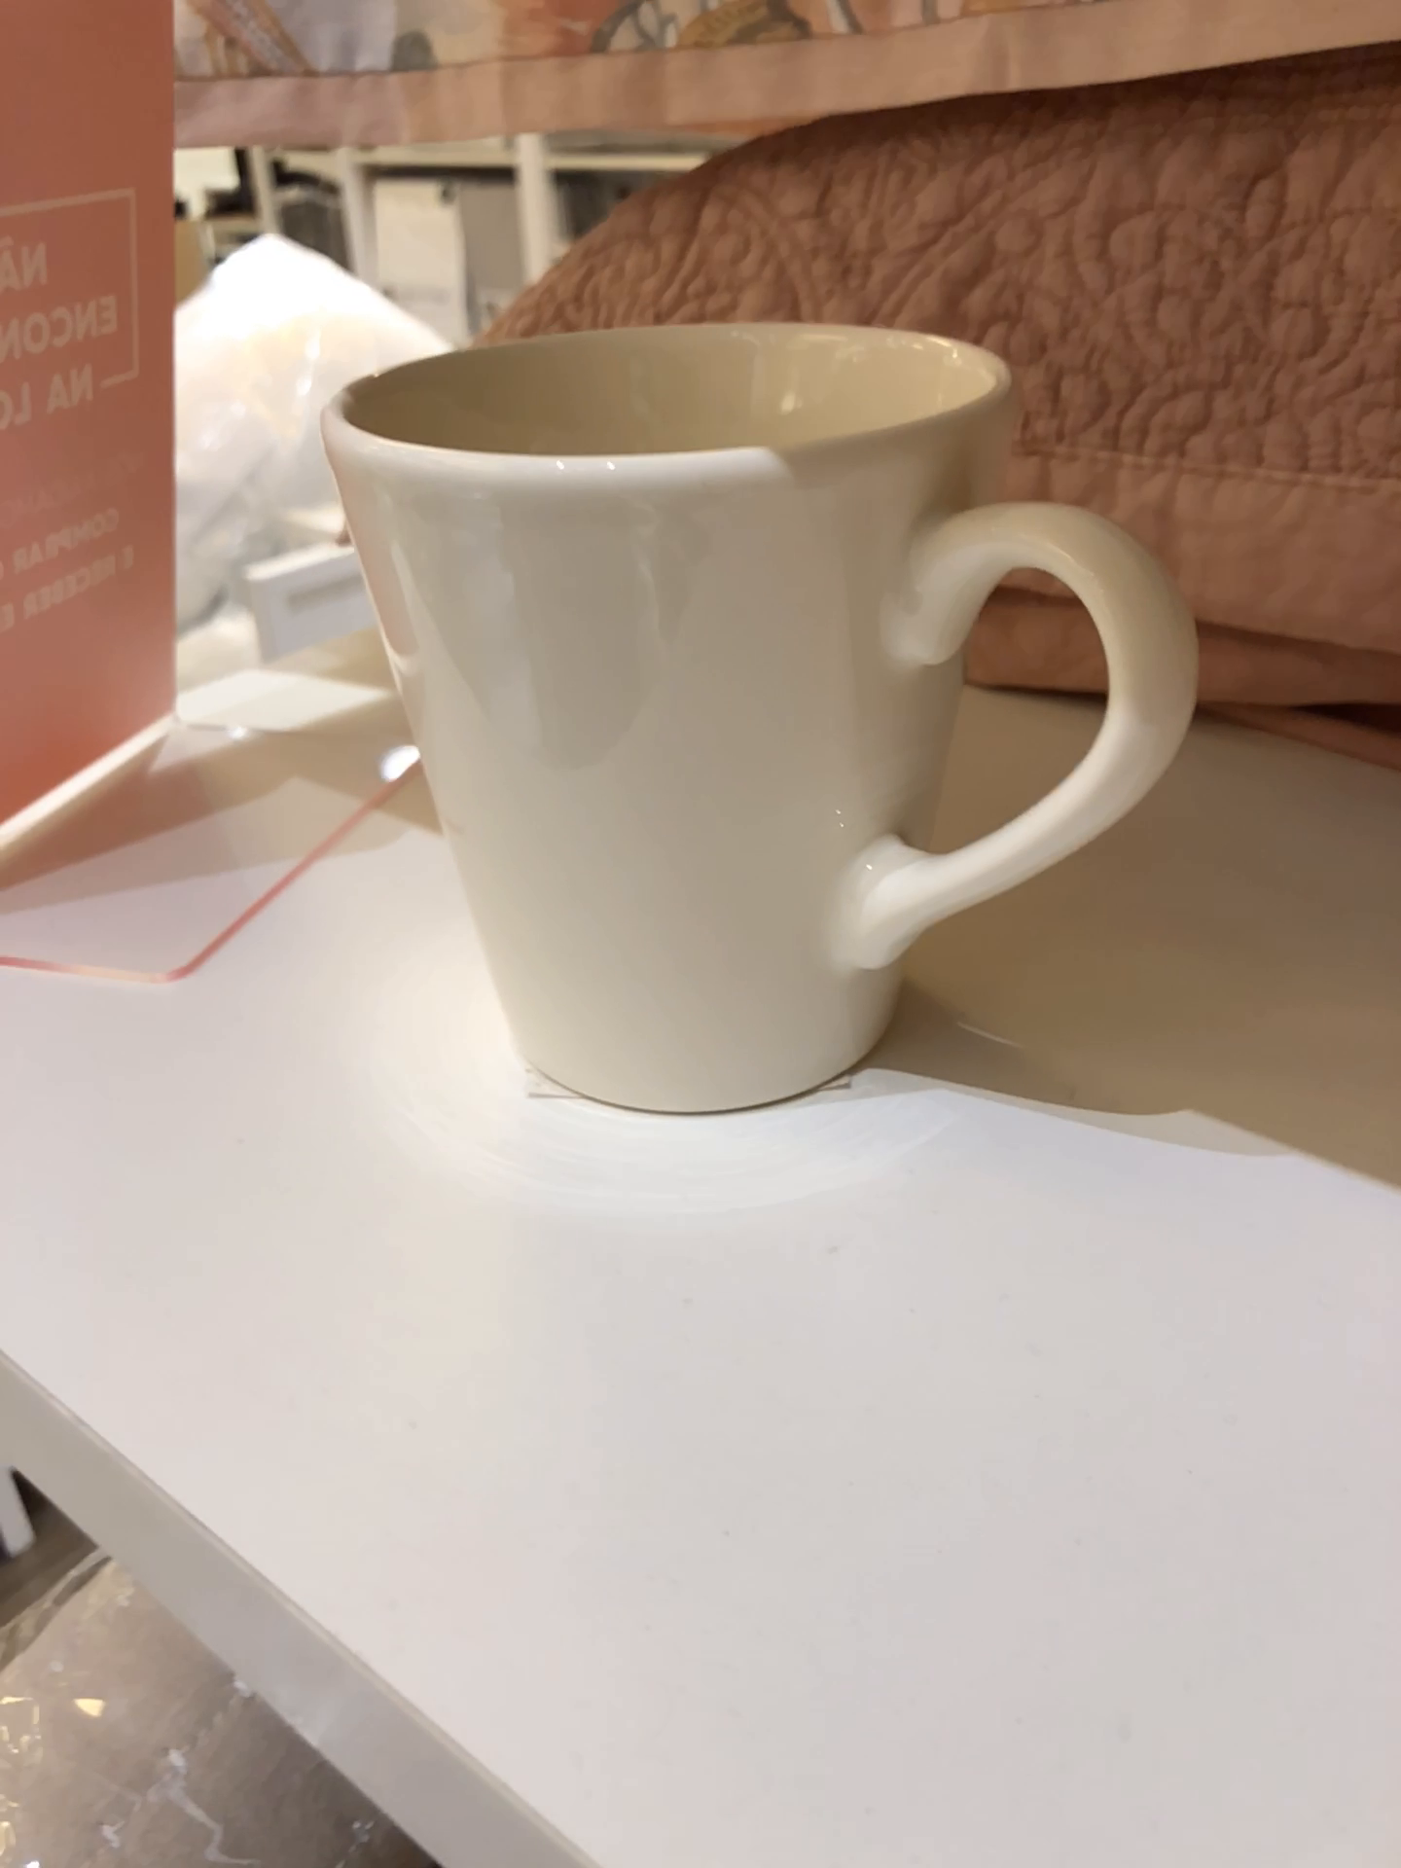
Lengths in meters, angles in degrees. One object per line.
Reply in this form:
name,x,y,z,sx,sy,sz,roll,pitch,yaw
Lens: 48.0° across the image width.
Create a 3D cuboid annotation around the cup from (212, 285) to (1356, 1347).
cup,0.014,-0.026,0.209,0.110,0.099,0.081,13,33,27
